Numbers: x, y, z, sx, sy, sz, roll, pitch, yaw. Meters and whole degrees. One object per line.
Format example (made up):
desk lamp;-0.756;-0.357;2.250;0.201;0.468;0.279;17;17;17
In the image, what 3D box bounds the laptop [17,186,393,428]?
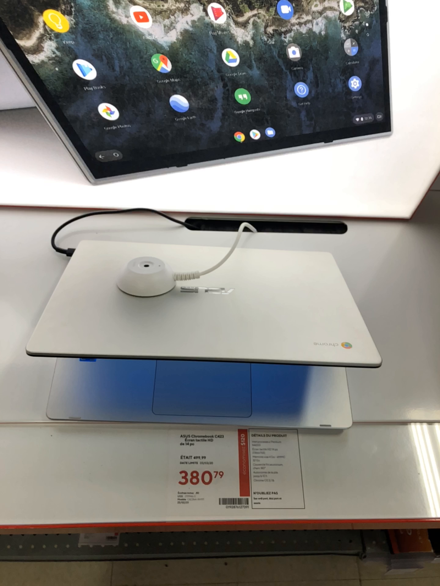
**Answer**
laptop;-0.011;0.012;0.515;0.317;0.101;0.225;3;57;-3
